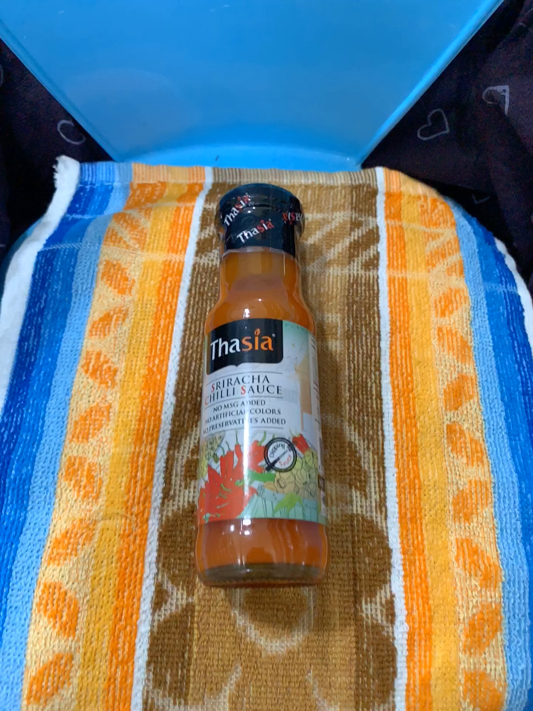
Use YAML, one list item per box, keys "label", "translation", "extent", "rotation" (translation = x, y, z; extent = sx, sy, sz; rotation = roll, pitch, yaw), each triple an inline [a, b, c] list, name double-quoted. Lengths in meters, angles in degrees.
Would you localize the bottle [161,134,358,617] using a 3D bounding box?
- label: "bottle"
  translation: [0.001, 0.000, 0.216]
  extent: [0.050, 0.050, 0.180]
  rotation: [-7, 60, 13]
